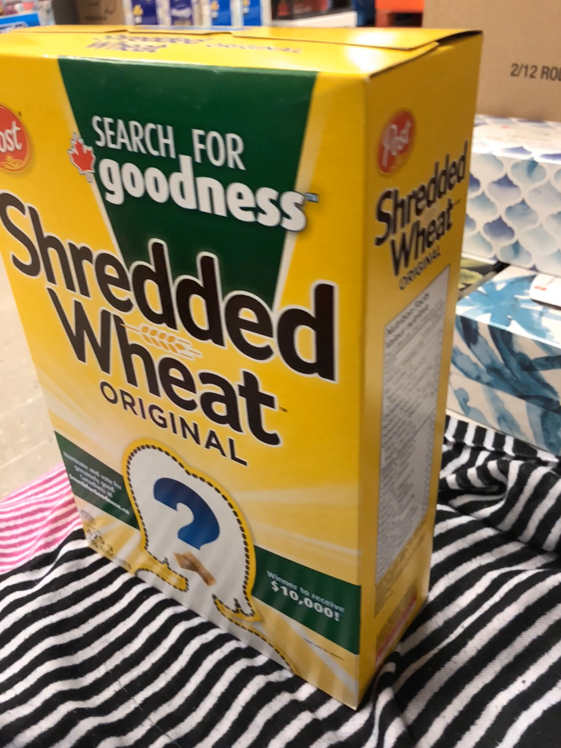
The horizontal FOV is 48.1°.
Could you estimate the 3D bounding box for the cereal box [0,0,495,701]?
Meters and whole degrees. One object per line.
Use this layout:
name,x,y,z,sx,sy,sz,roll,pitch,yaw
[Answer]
cereal box,-0.039,-0.015,0.286,0.210,0.269,0.080,18,39,30
